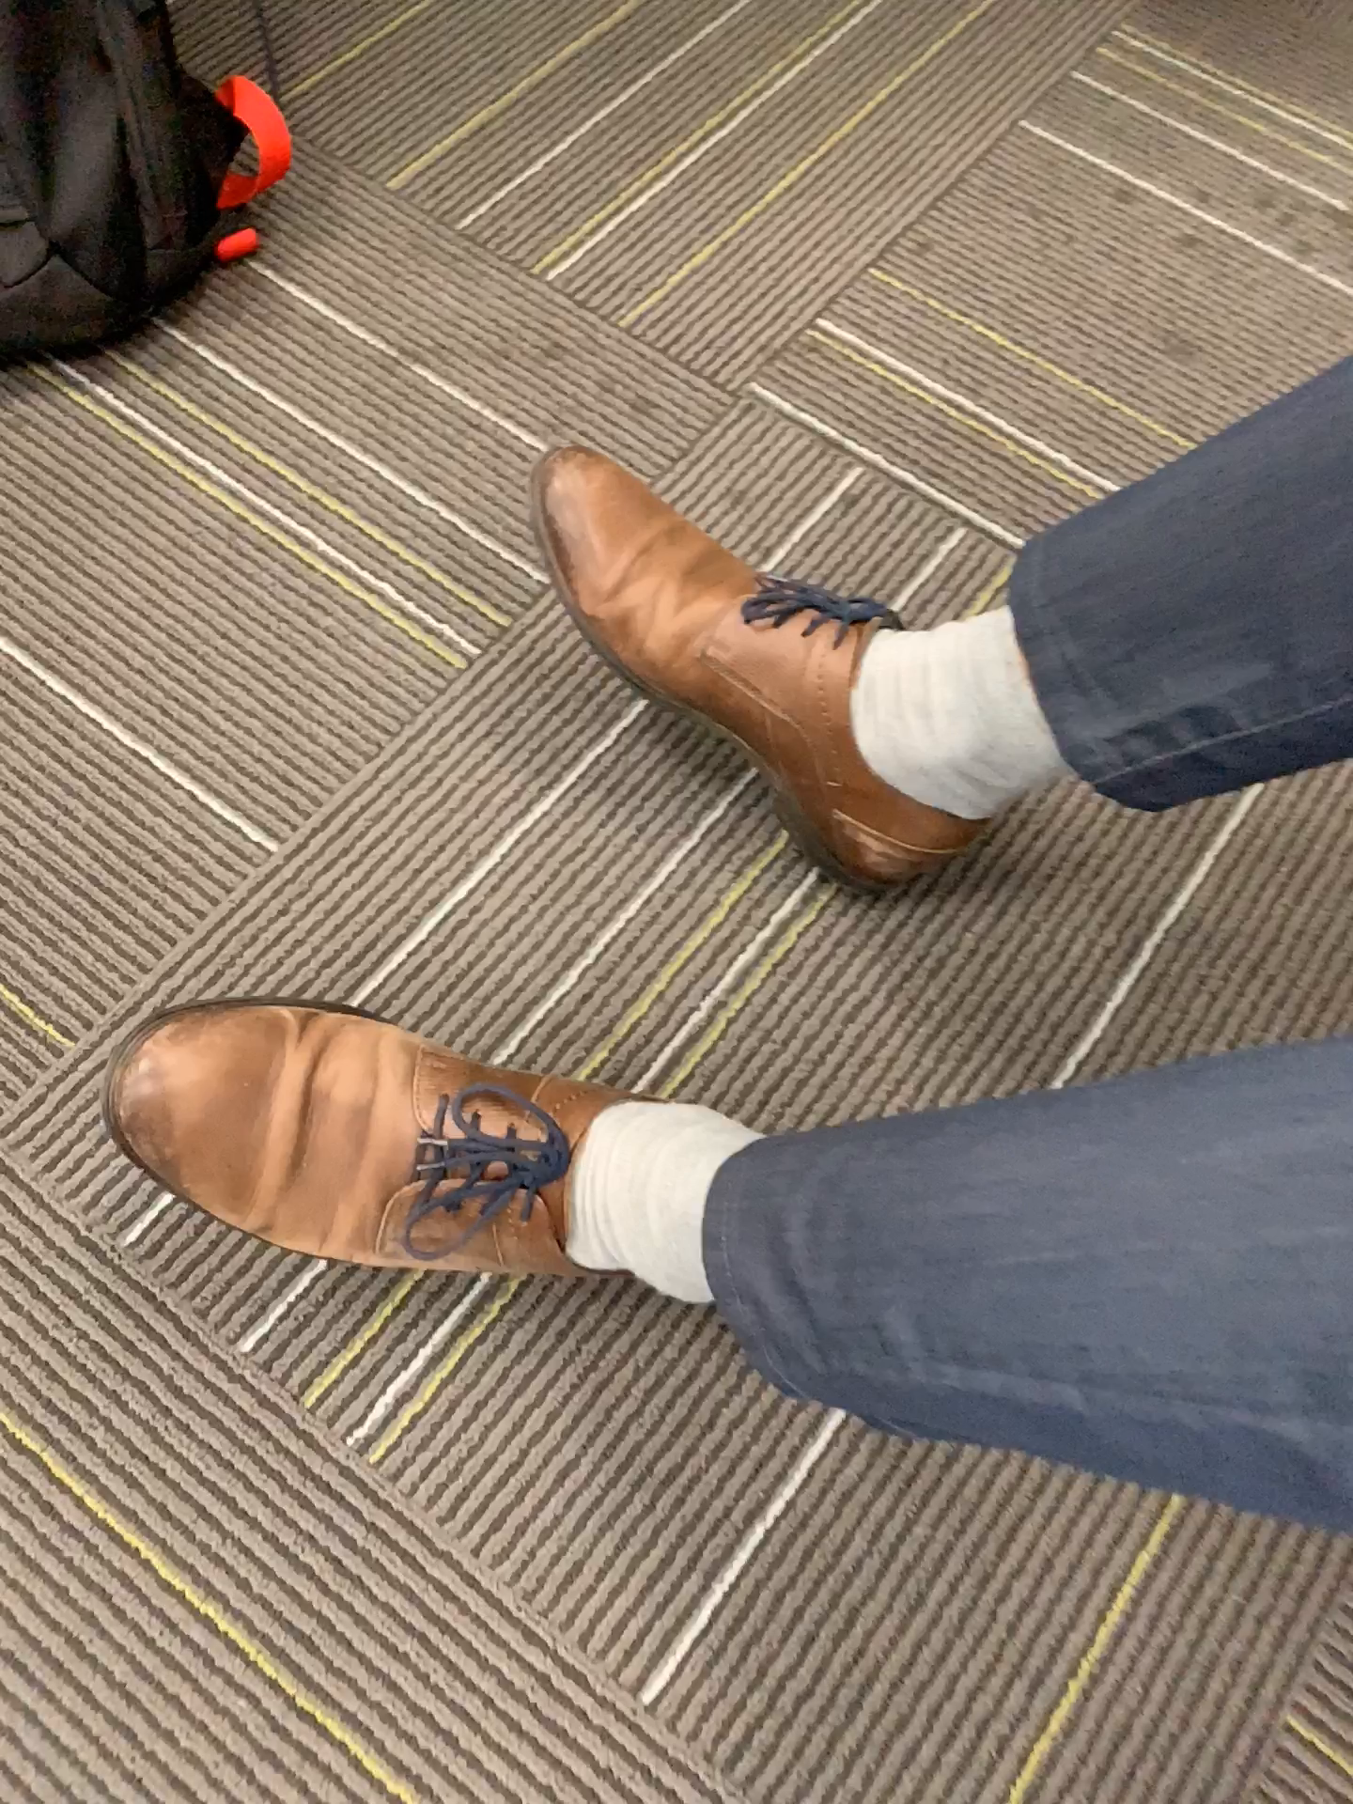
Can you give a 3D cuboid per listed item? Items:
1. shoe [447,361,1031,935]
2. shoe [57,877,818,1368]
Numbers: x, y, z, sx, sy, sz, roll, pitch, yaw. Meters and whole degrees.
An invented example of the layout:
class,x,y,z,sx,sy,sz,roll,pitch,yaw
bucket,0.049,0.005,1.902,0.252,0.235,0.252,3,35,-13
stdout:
class,x,y,z,sx,sy,sz,roll,pitch,yaw
shoe,0.035,-0.125,0.688,0.281,0.074,0.103,42,47,-5
shoe,-0.092,0.095,0.577,0.271,0.084,0.121,19,76,-16
